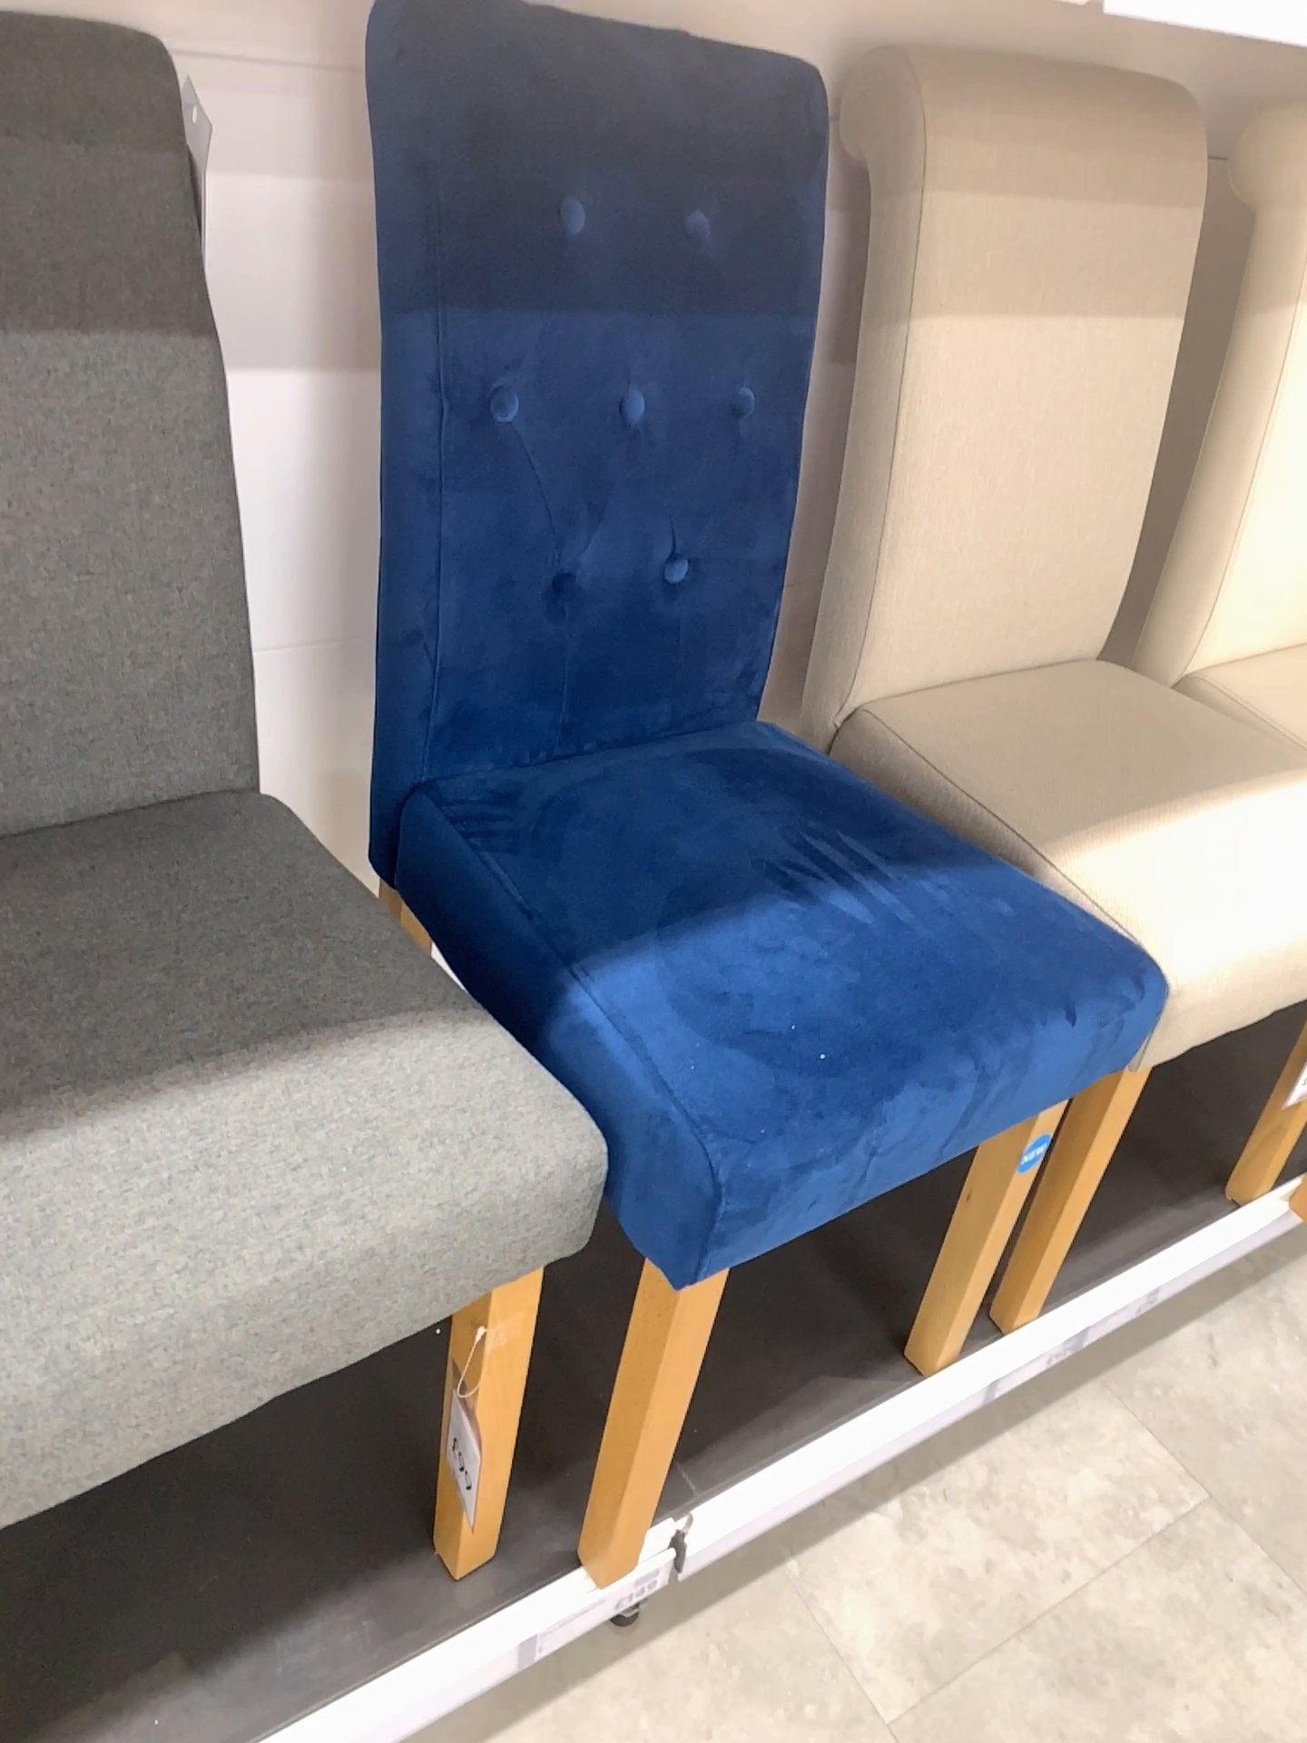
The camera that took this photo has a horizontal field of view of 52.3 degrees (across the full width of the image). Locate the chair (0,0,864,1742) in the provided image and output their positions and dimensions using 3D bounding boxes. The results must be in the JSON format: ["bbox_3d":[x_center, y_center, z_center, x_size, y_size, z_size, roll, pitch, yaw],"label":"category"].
[{"bbox_3d":[-0.342,0.017,0.796,0.414,0.890,0.622,-17,42,-36],"label":"chair"}]

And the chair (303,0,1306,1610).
[{"bbox_3d":[0.067,-0.048,0.967,0.434,0.929,0.522,-14,41,-33],"label":"chair"}]
